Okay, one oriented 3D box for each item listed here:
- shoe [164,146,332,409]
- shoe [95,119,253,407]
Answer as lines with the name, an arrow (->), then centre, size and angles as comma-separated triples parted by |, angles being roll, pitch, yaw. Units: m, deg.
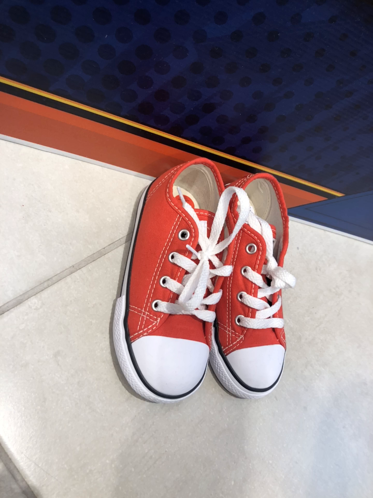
shoe -> 0.043, 0.024, 0.340 | 0.080, 0.070, 0.190 | 3, 70, -31
shoe -> -0.010, 0.014, 0.306 | 0.080, 0.070, 0.190 | 12, 65, -28
